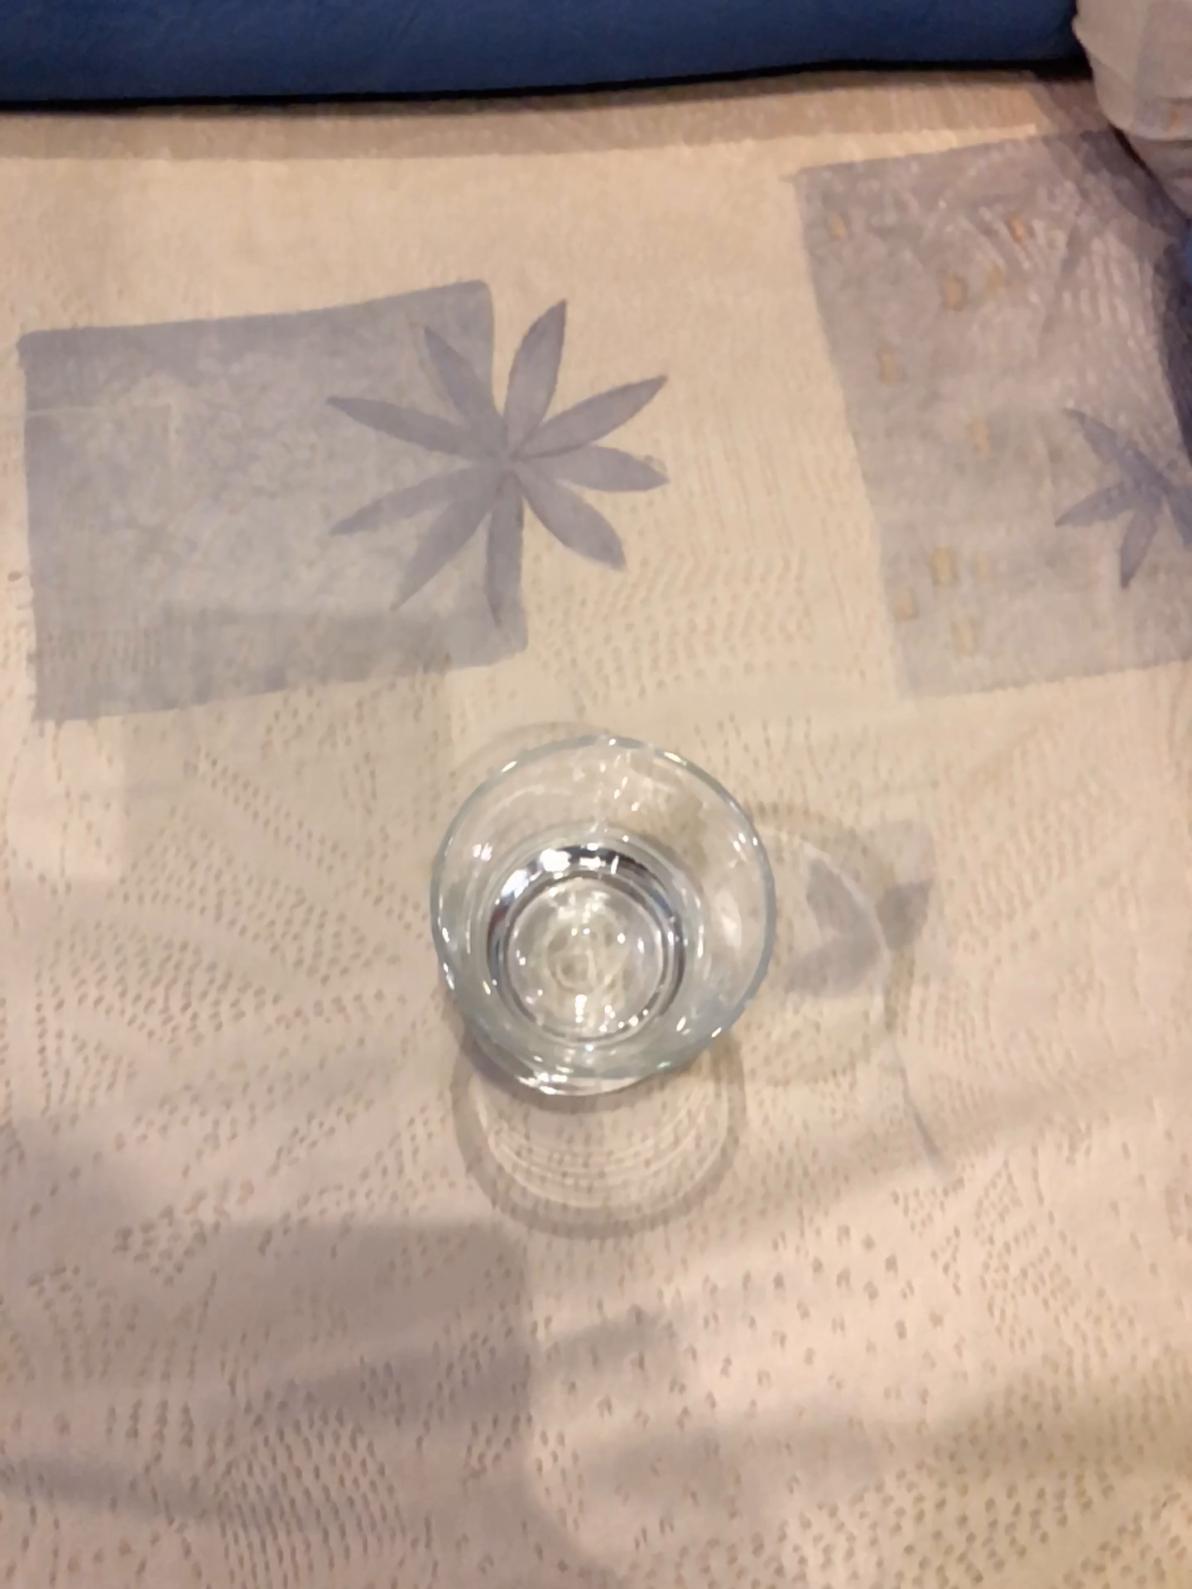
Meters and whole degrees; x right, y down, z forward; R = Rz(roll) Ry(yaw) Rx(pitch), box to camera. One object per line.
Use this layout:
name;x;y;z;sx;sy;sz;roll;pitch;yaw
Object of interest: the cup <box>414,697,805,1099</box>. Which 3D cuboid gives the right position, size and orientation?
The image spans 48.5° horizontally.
cup;0.000;0.031;0.345;0.086;0.083;0.085;1;70;-4
